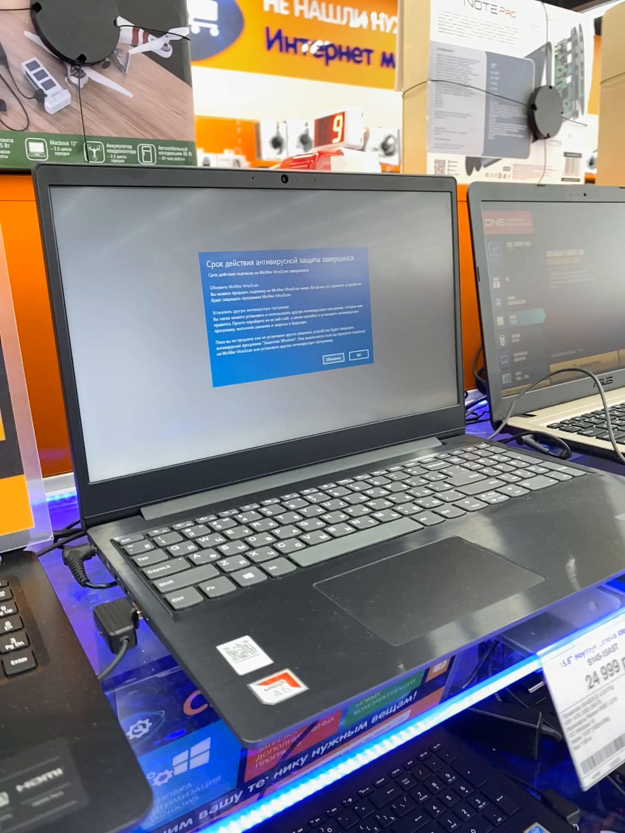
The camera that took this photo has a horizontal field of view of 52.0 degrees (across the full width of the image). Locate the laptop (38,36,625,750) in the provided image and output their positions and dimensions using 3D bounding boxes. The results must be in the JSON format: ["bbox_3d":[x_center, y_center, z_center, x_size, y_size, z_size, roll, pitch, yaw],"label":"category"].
[{"bbox_3d":[0.052,-0.048,0.416,0.361,0.240,0.273,-11,15,-30],"label":"laptop"}]
